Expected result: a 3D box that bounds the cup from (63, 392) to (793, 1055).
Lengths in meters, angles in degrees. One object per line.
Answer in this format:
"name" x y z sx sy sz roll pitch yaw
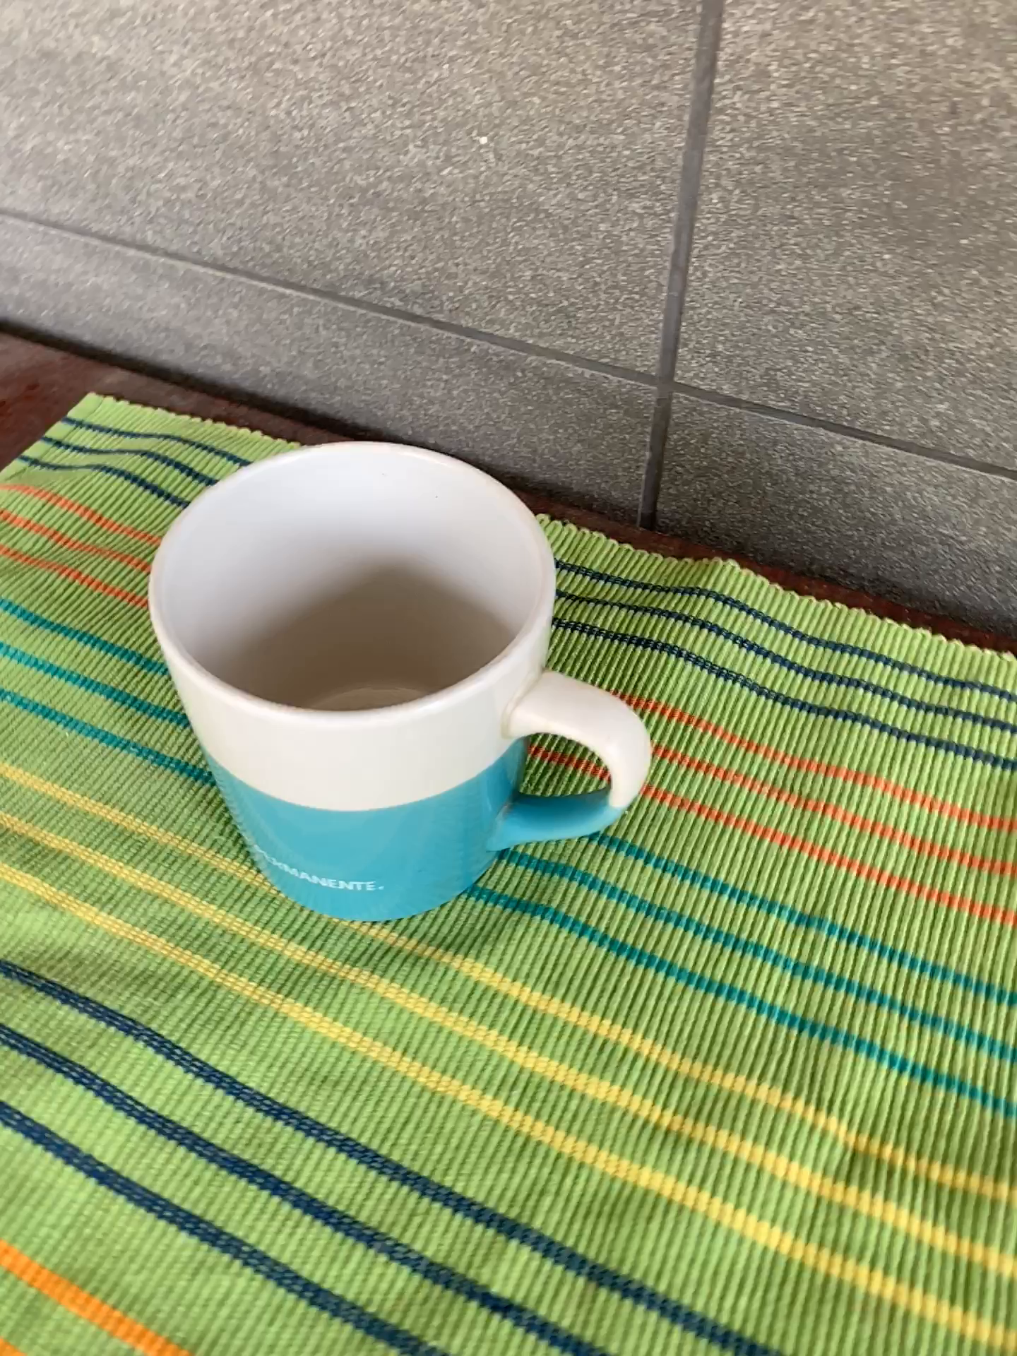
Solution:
"cup" -0.015 0.008 0.280 0.140 0.100 0.100 18 49 16
